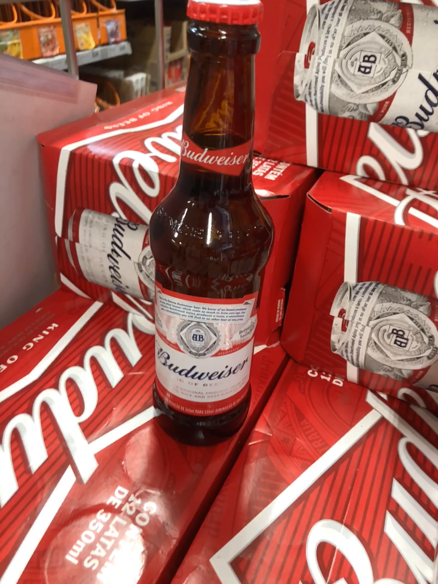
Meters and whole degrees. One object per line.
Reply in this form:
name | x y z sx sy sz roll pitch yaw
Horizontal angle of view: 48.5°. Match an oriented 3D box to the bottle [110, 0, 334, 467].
bottle | -0.001 -0.015 0.244 0.070 0.228 0.060 11 36 10
